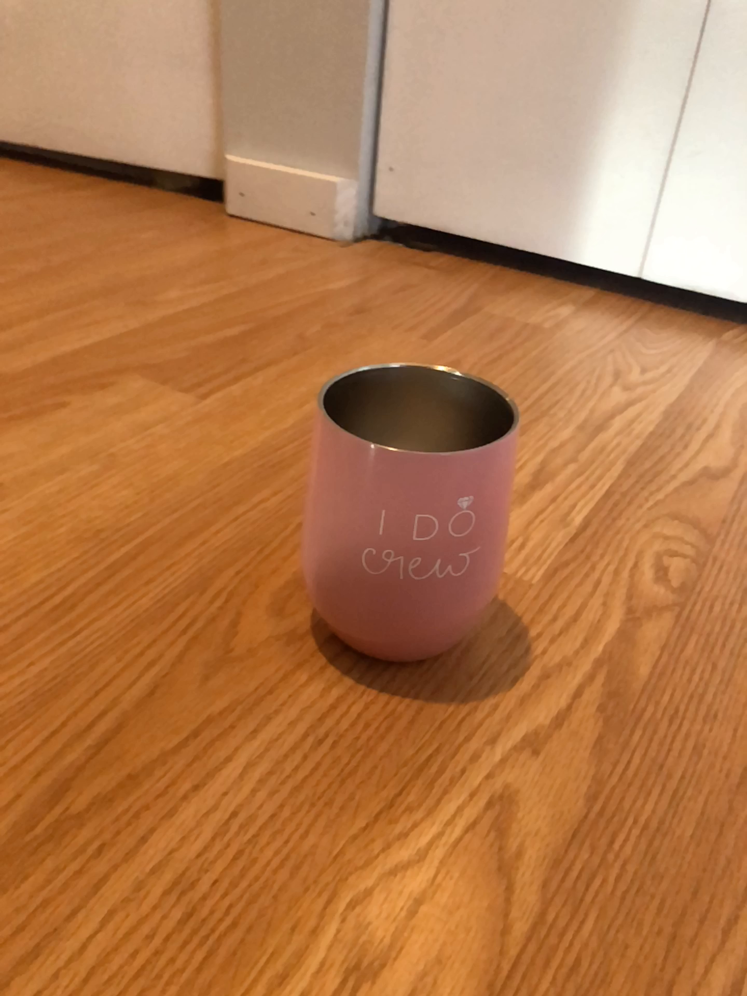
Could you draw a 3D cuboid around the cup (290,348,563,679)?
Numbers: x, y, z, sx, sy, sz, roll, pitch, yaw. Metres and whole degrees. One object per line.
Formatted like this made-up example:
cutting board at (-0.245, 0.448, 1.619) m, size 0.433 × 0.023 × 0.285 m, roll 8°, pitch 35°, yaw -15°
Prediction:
cup at (0.014, 0.005, 0.344) m, size 0.090 × 0.100 × 0.090 m, roll 4°, pitch 32°, yaw -2°
